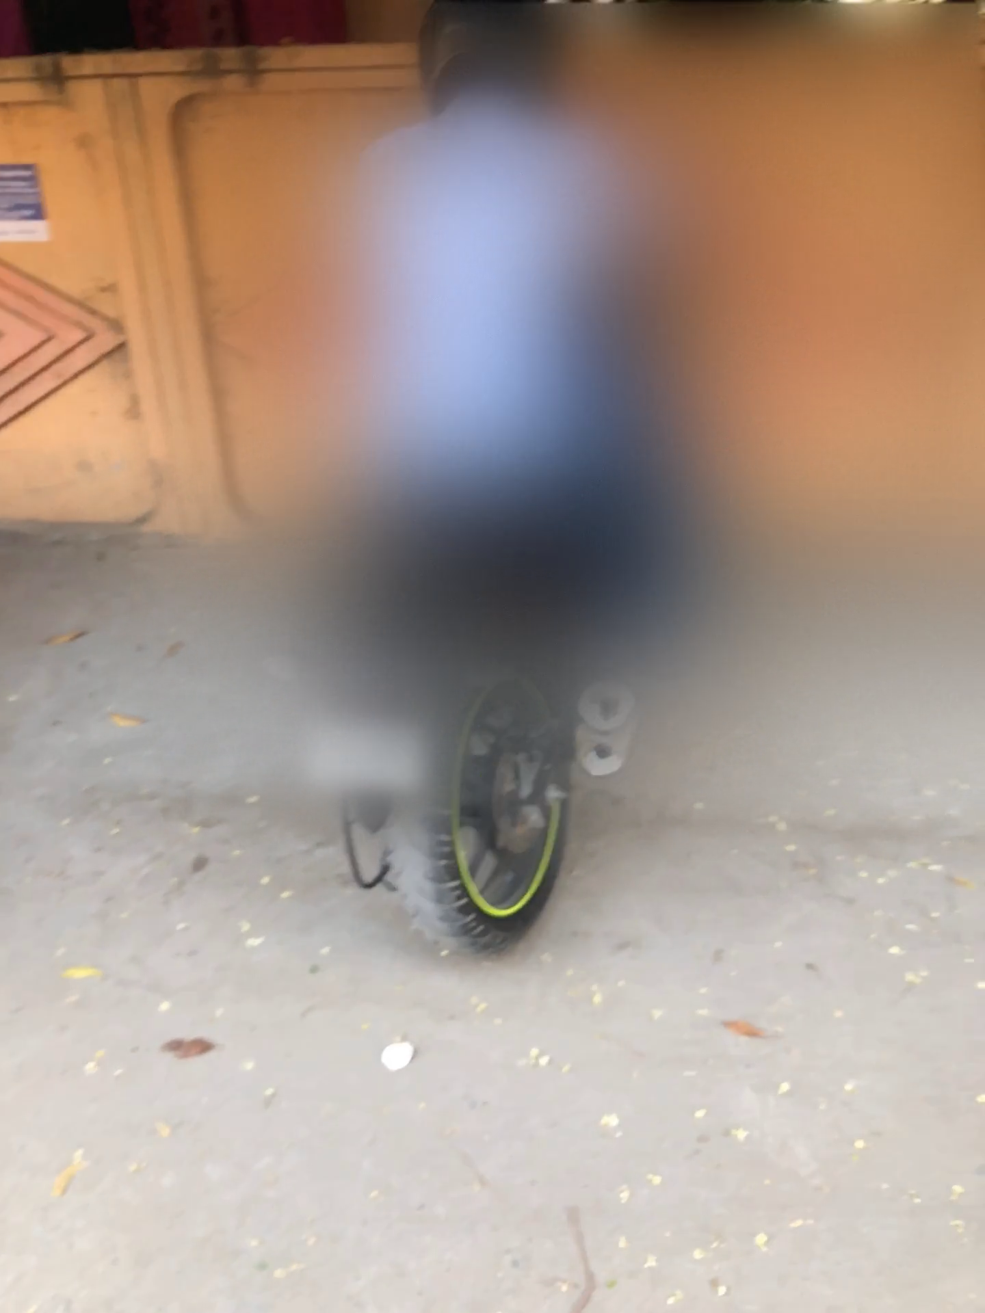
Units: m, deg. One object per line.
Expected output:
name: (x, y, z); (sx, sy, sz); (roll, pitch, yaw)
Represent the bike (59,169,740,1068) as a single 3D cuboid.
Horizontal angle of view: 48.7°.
bike: (0.033, -0.354, 2.467); (0.794, 1.187, 1.899); (7, 30, 15)
